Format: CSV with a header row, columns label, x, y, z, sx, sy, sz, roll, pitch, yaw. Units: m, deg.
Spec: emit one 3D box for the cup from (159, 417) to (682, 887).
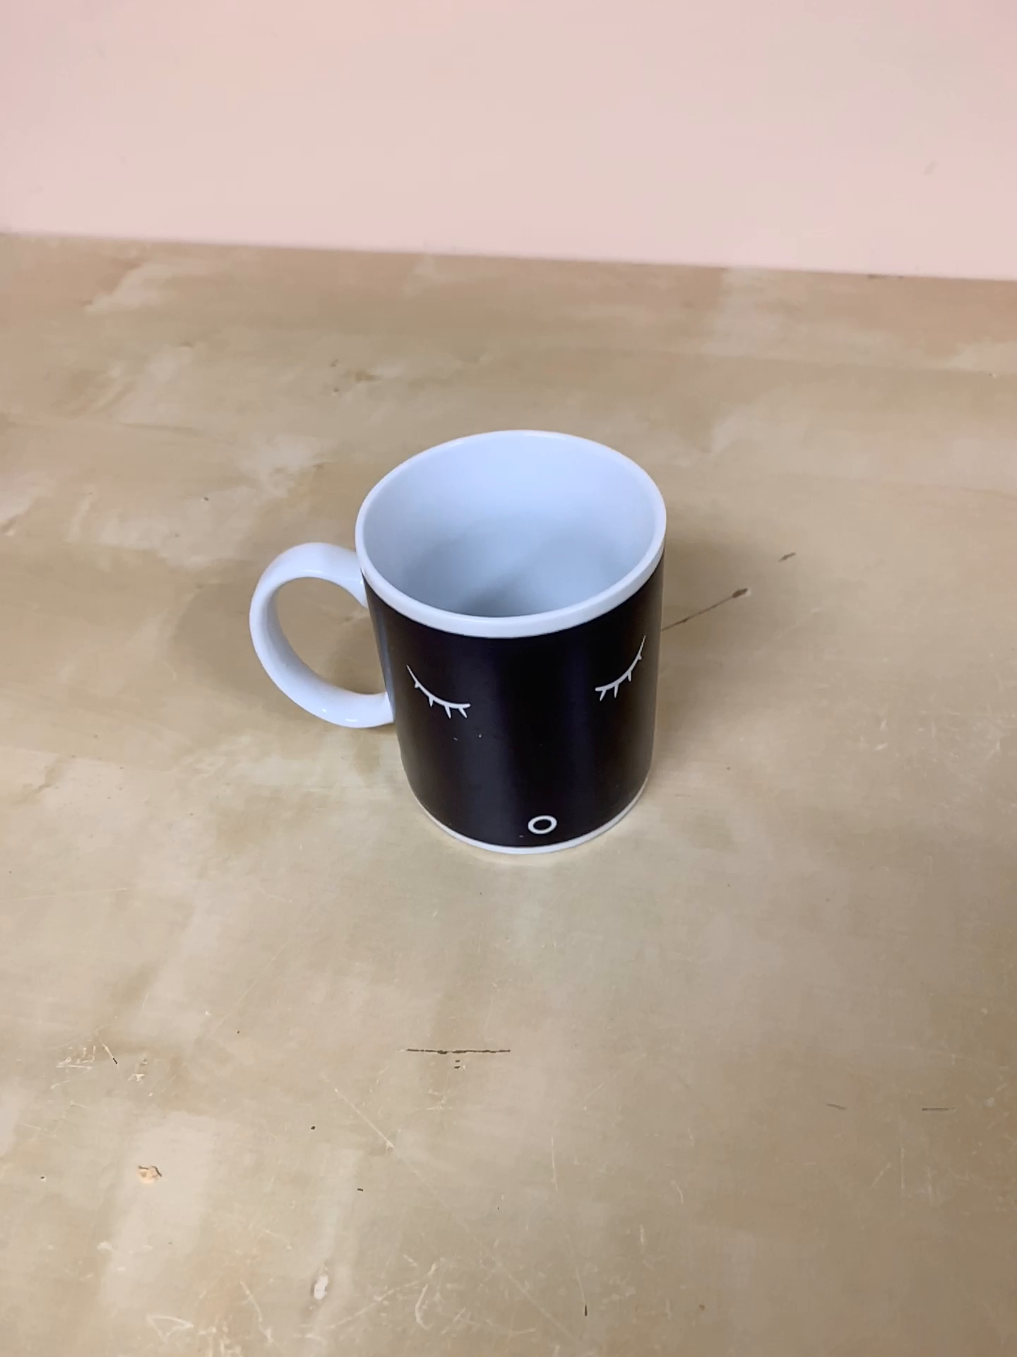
label,x,y,z,sx,sy,sz,roll,pitch,yaw
cup,-0.015,-0.008,0.306,0.121,0.101,0.084,3,46,7
